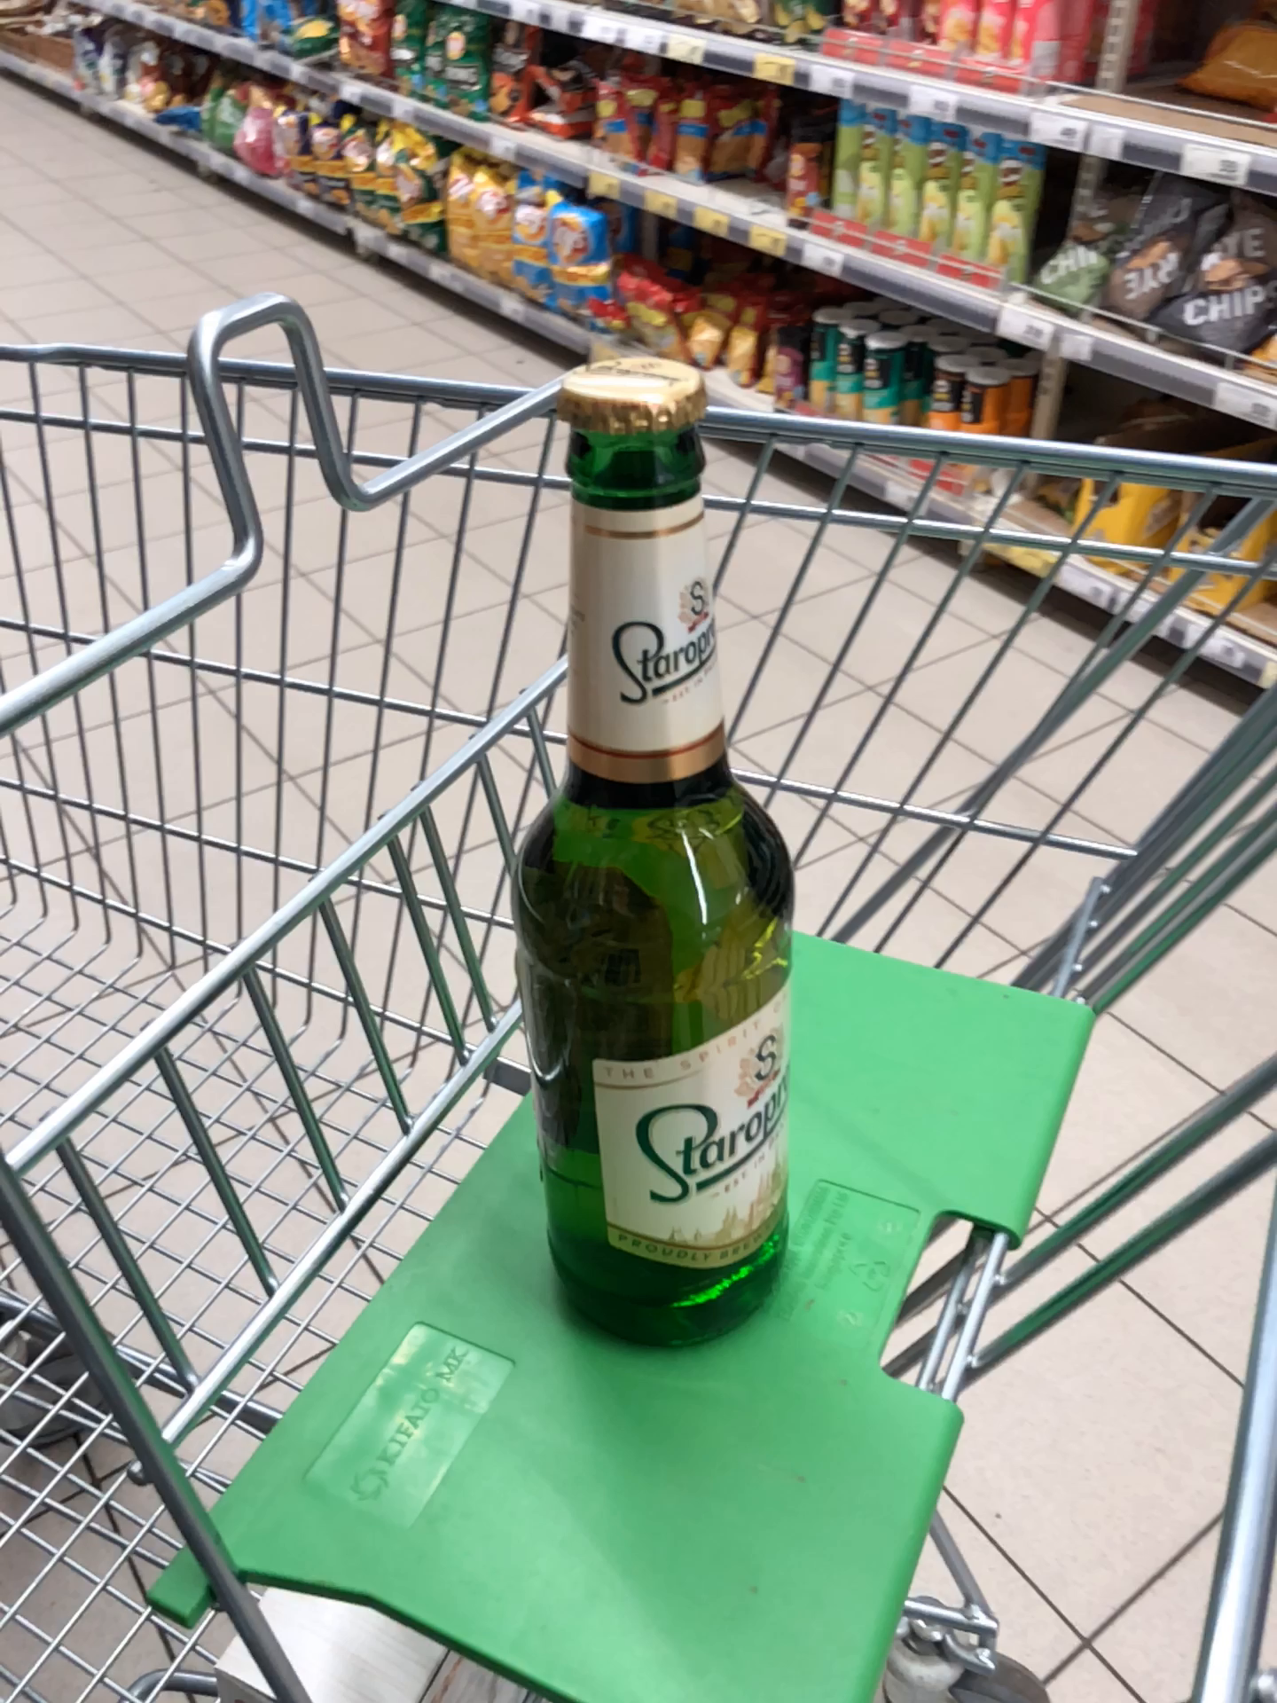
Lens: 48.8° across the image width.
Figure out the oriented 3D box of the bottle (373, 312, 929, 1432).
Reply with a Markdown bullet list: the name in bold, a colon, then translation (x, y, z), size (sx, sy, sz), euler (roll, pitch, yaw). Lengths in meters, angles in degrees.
- **bottle**: translation (0.007, 0.016, 0.314), size (0.070, 0.239, 0.070), euler (-1, 35, 1)
